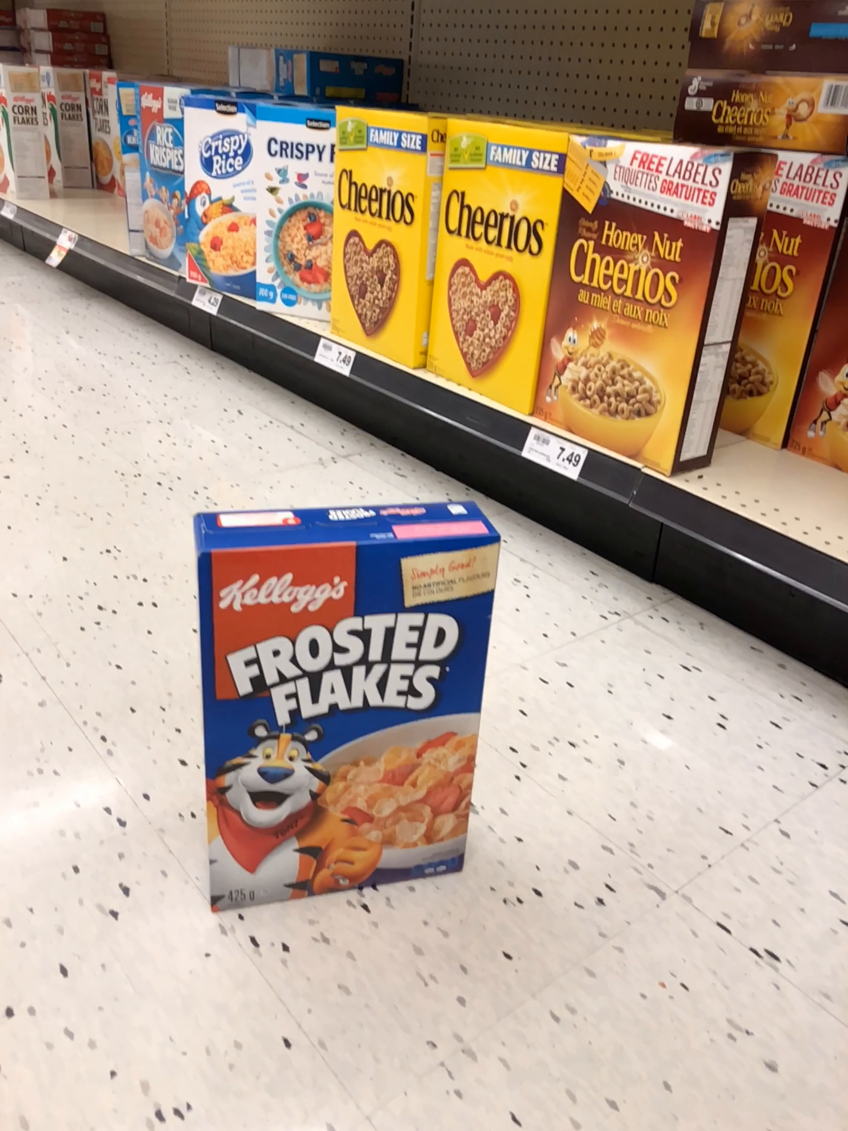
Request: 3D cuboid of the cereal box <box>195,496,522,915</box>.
[{"bbox_3d":[-0.054,0.102,0.662,0.200,0.288,0.070,-3,28,-17],"label":"cereal box"}]
